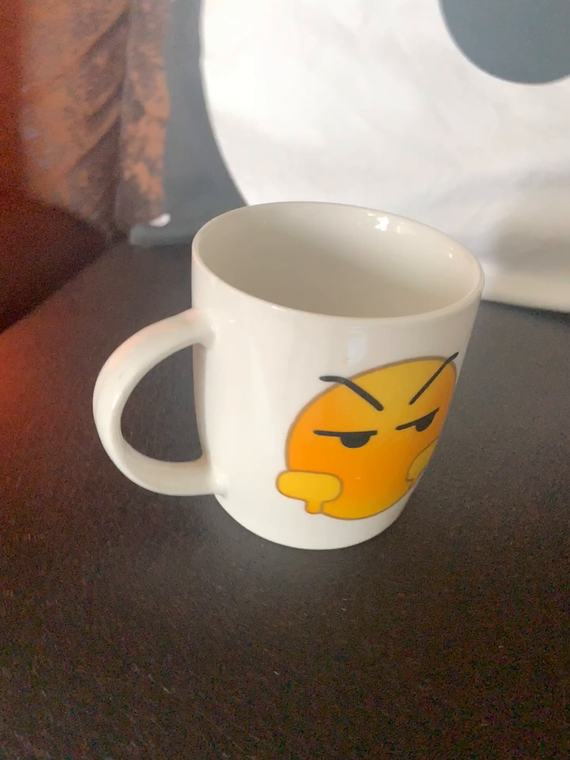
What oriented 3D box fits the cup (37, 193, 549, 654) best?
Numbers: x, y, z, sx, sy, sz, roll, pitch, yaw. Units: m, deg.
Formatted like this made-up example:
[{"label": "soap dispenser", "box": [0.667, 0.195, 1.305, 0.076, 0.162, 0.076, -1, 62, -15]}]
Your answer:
[{"label": "cup", "box": [-0.005, 0.004, 0.192, 0.120, 0.099, 0.080, -10, 37, -24]}]
